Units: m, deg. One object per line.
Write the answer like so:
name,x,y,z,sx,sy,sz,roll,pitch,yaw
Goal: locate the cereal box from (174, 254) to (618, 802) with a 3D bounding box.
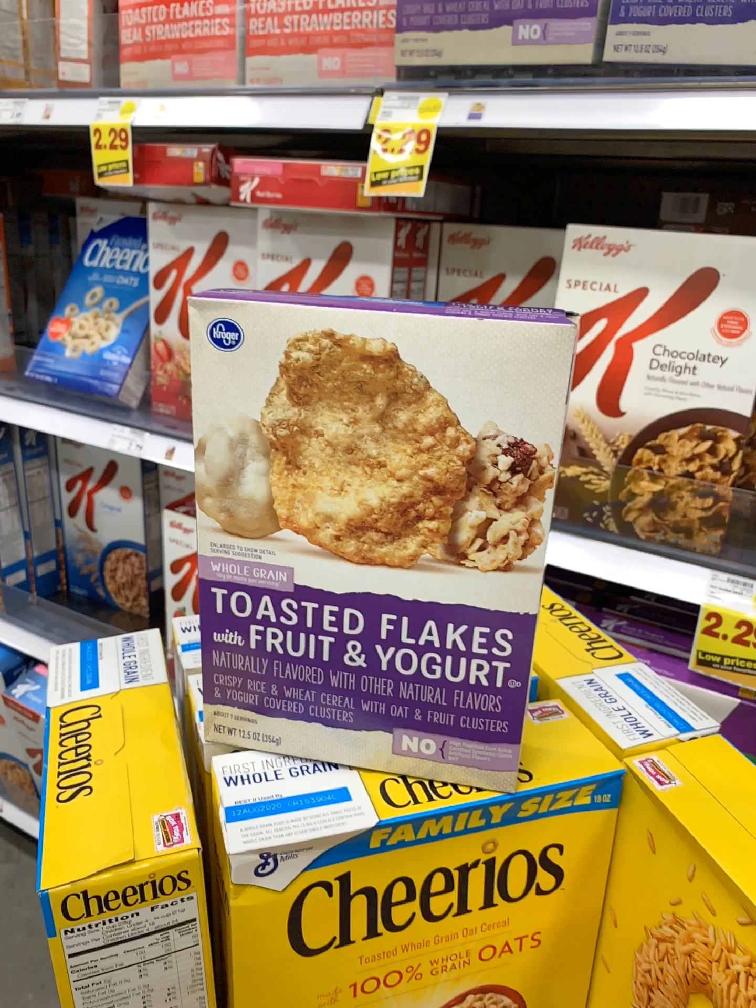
cereal box,0.002,0.014,0.422,0.200,0.269,0.060,7,21,9
